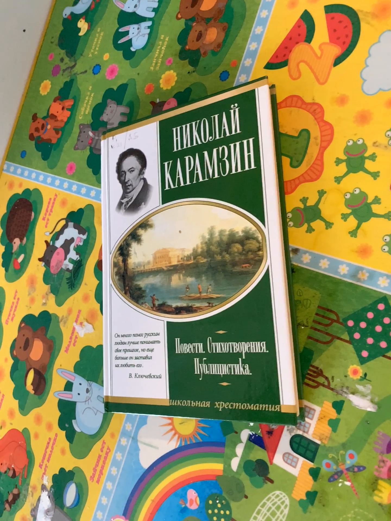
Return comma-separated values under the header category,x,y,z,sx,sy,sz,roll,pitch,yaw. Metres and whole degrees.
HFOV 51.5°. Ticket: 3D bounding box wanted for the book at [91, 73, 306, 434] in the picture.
category,x,y,z,sx,sy,sz,roll,pitch,yaw
book,-0.009,-0.002,0.259,0.136,0.020,0.197,-8,79,29
